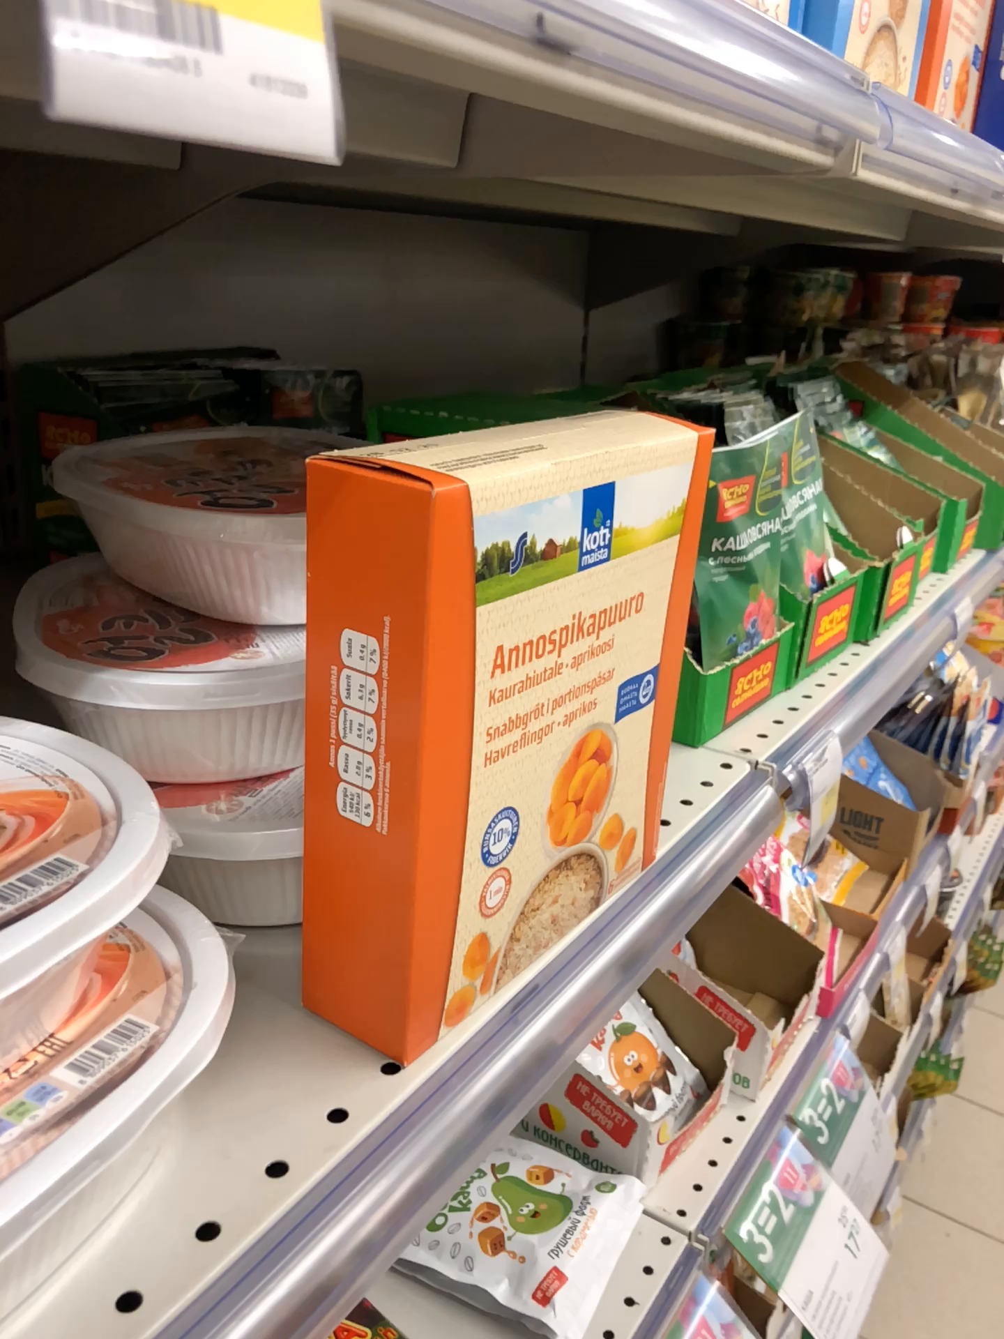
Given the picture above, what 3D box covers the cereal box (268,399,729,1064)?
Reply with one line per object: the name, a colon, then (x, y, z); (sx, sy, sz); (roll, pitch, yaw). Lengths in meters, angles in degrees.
cereal box: (0.004, 0.006, 0.387); (0.060, 0.179, 0.171); (17, 24, 32)
